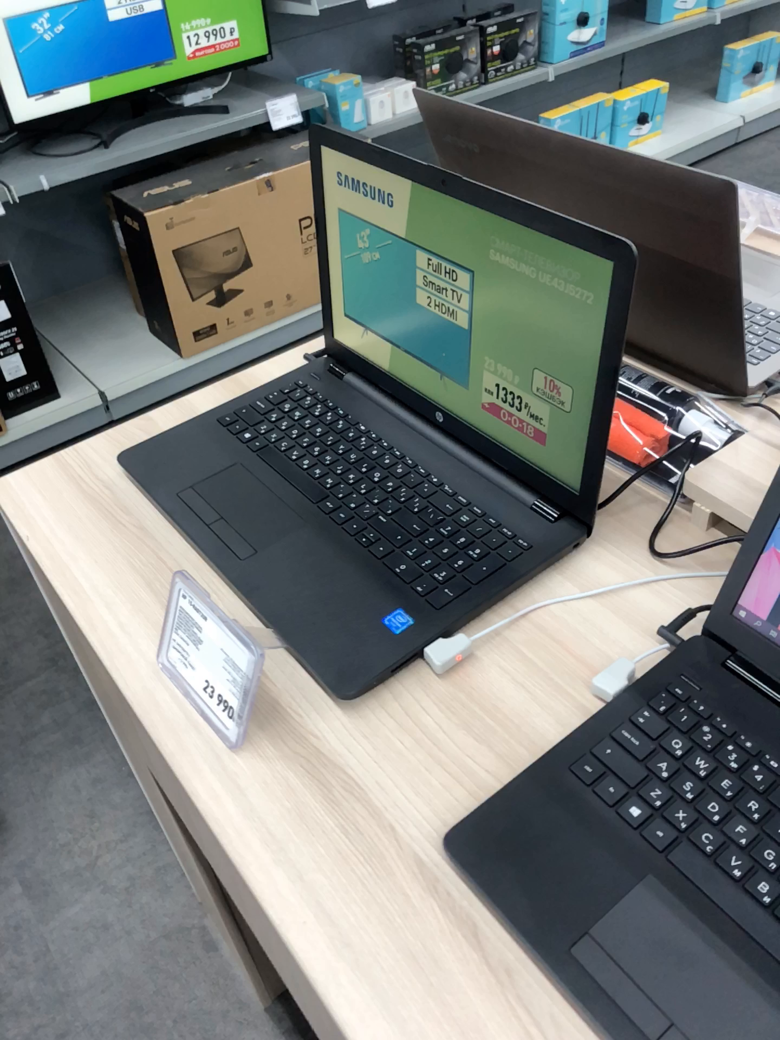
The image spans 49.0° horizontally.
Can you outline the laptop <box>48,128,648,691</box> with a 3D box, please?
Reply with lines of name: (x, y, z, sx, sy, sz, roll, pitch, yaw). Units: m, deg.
laptop: (-0.045, -0.121, 0.681, 0.273, 0.222, 0.363, -29, 46, -25)
